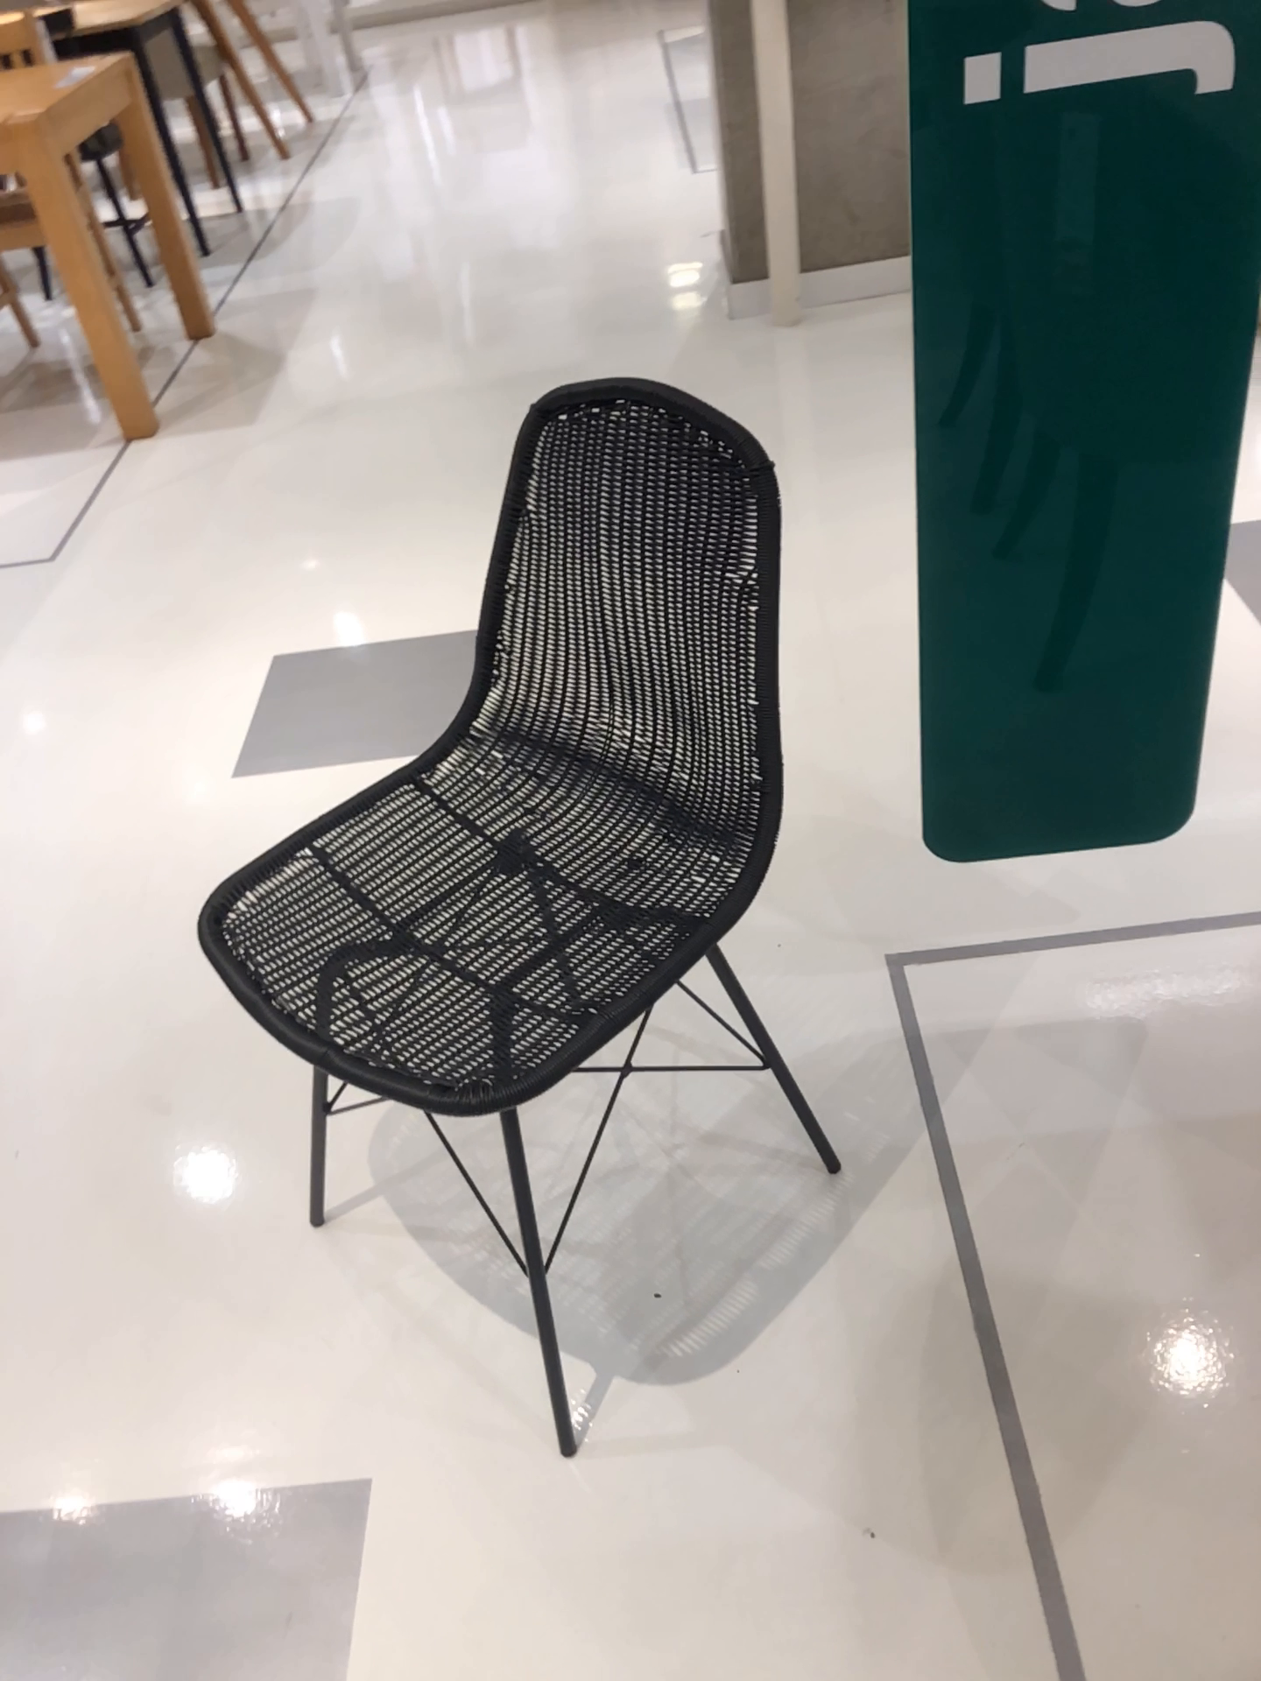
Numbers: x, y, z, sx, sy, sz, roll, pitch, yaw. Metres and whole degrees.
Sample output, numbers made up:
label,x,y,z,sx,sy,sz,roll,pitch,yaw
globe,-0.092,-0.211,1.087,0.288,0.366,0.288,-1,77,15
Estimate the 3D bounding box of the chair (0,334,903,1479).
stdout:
label,x,y,z,sx,sy,sz,roll,pitch,yaw
chair,-0.109,0.042,1.307,0.482,0.794,0.552,25,50,37
